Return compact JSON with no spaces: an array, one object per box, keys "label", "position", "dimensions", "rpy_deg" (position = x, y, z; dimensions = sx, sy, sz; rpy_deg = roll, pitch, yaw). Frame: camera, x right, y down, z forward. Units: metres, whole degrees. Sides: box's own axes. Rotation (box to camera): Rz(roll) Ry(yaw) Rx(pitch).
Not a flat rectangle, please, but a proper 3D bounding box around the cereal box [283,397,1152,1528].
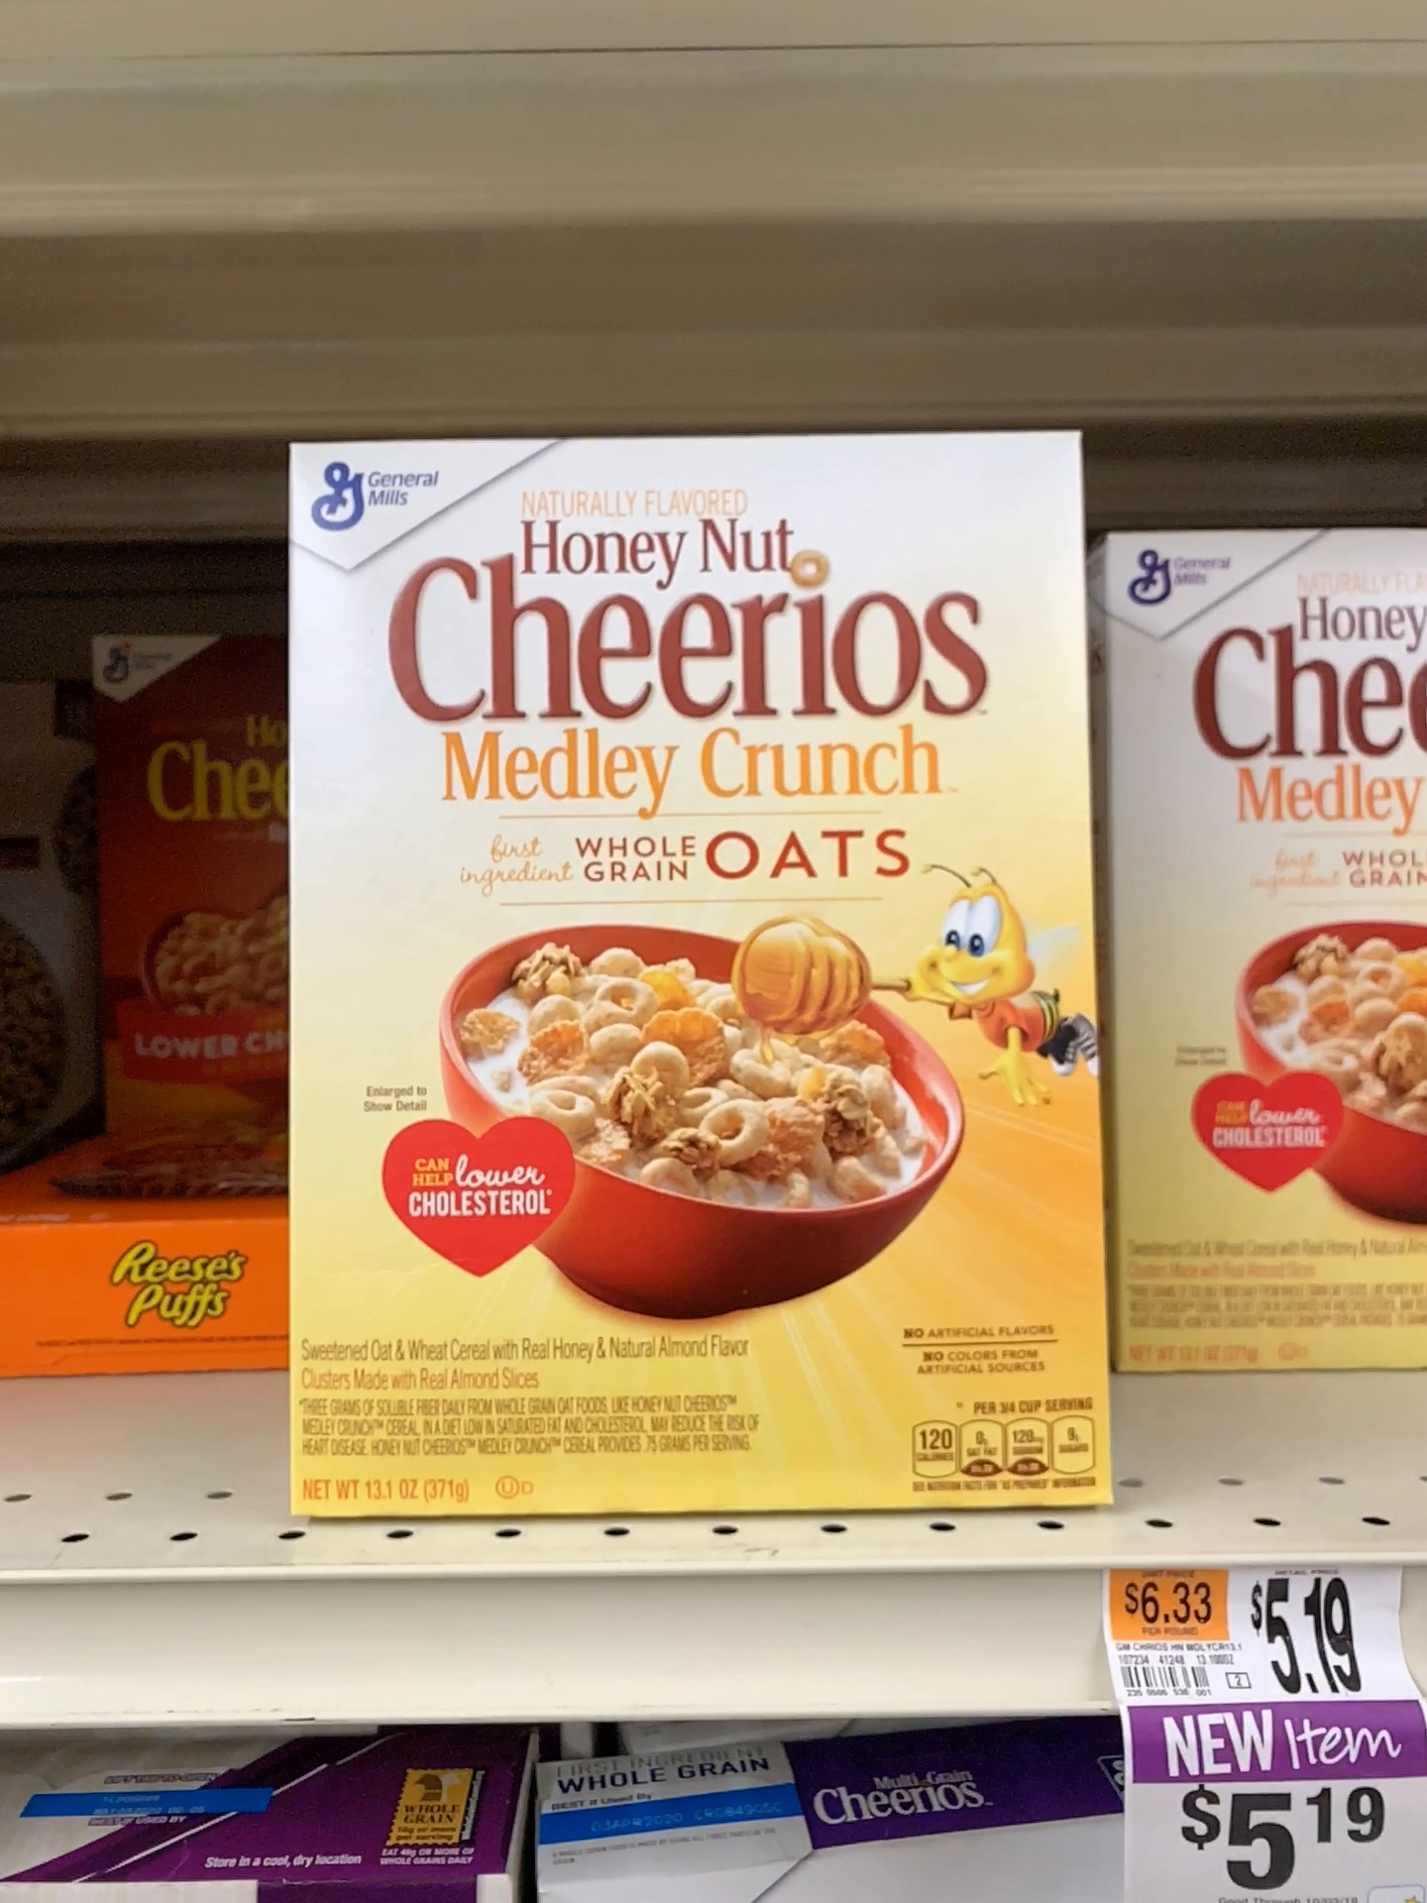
[{"label":"cereal box","position":[-0.001,0.001,0.361],"dimensions":[0.190,0.250,0.060],"rpy_deg":[-1,-3,0]}]
